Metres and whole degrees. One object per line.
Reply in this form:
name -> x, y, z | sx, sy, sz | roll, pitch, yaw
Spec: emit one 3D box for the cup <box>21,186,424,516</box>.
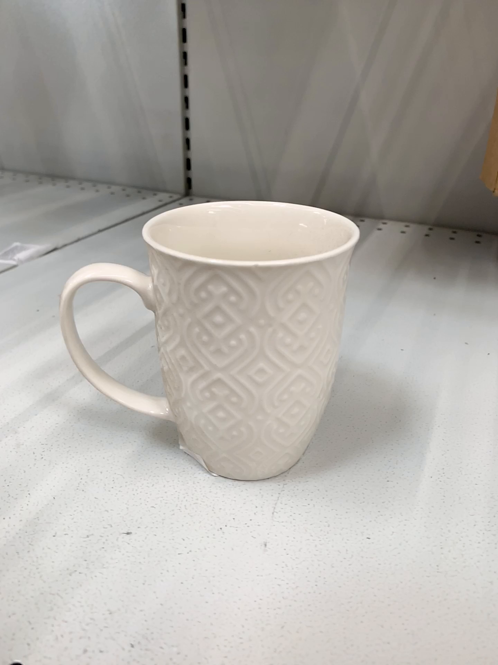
cup -> -0.005, -0.001, 0.227 | 0.131, 0.098, 0.092 | 6, 28, 9
